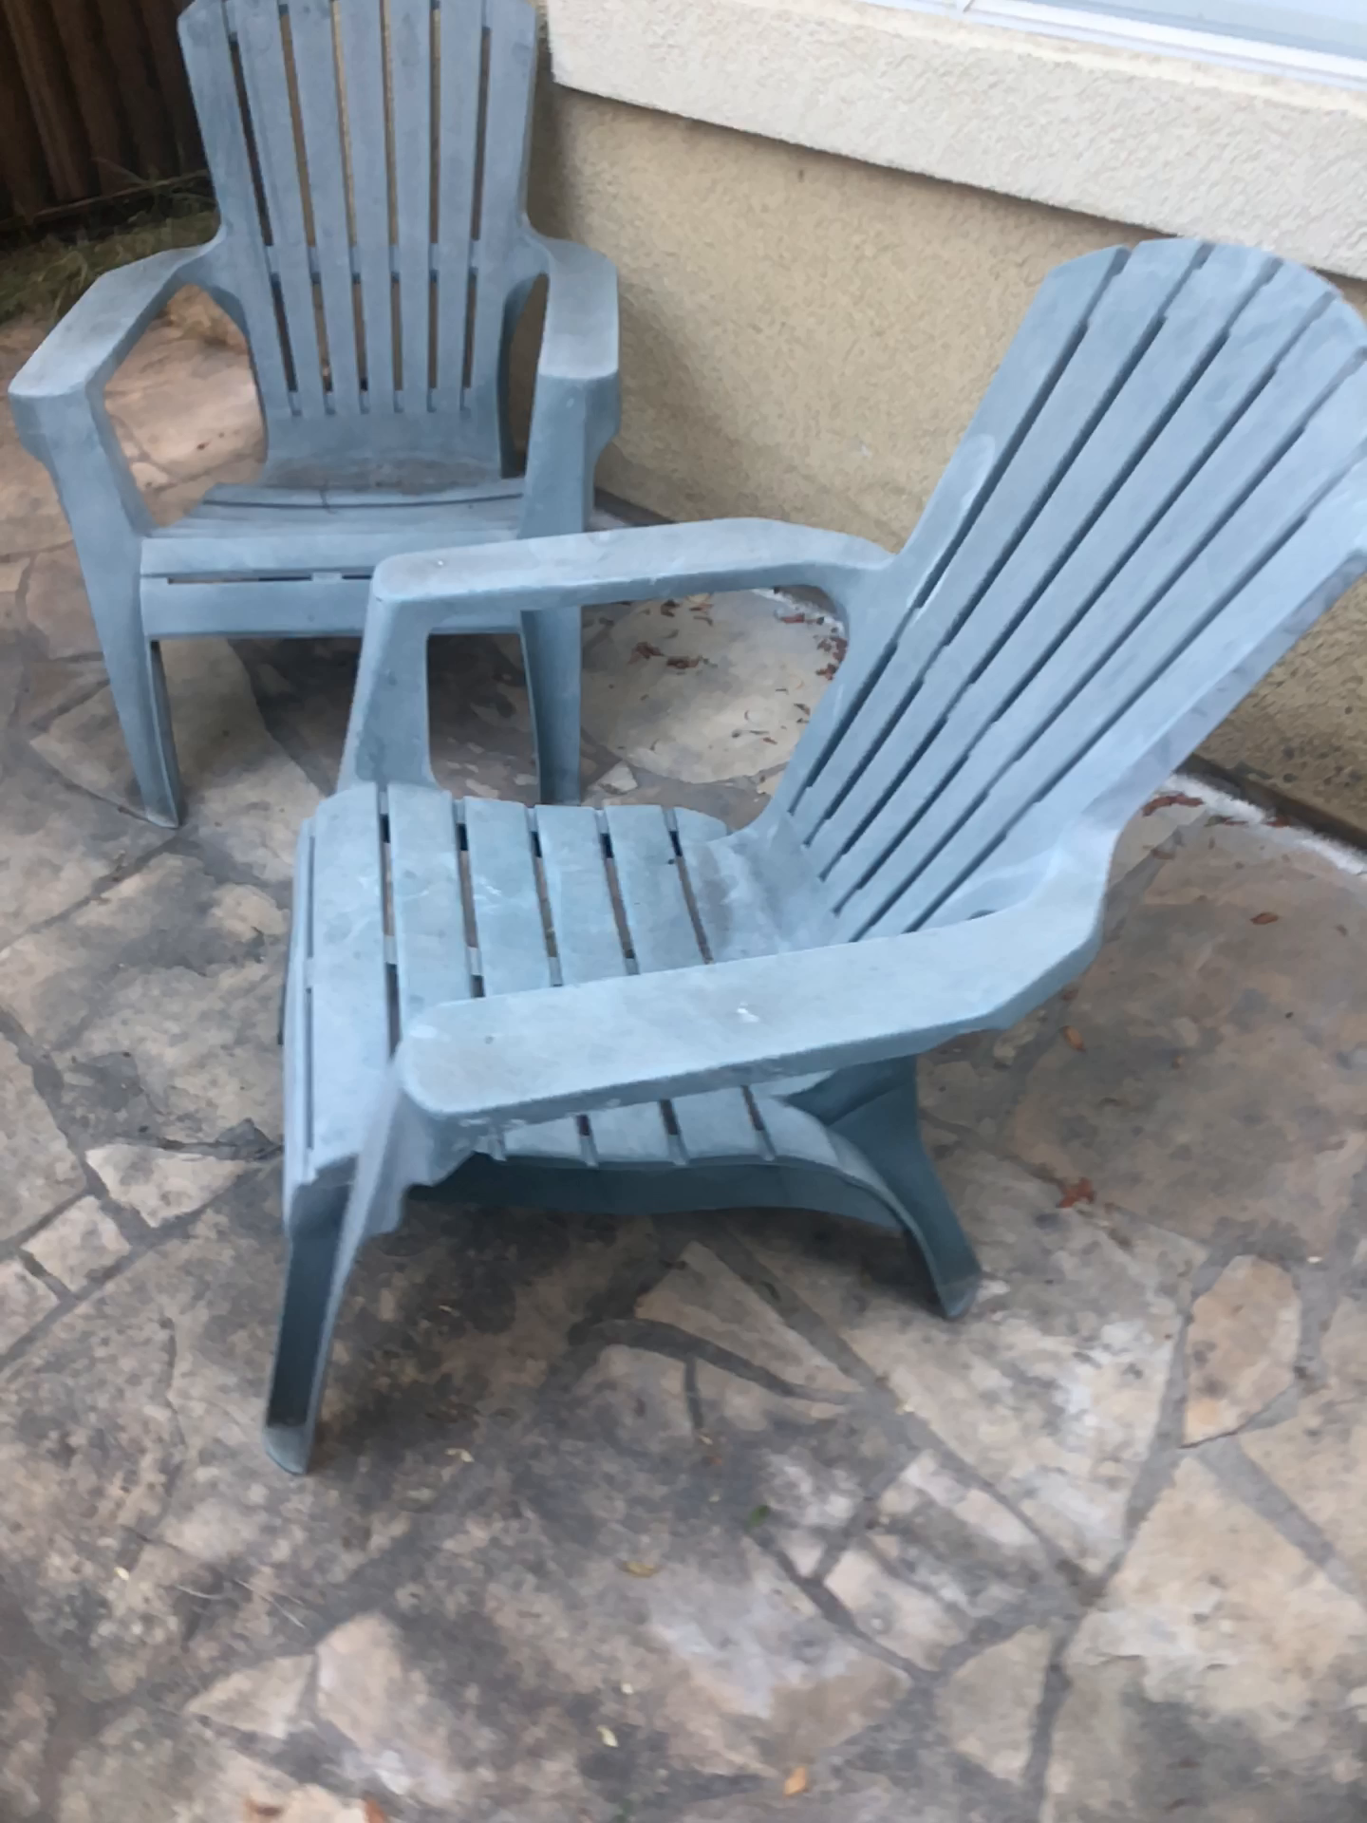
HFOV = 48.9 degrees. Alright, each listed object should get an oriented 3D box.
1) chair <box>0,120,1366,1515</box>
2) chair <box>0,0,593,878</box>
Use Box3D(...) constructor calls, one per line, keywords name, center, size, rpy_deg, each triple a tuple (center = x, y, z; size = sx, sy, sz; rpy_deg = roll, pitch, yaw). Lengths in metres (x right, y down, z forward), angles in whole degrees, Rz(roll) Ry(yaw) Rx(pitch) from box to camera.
Box3D(name="chair", center=(-0.001, -0.101, 1.299), size=(0.921, 0.882, 0.695), rpy_deg=(-5, 41, -11))
Box3D(name="chair", center=(-0.533, -0.819, 2.314), size=(0.740, 1.220, 0.917), rpy_deg=(-1, 34, -2))
